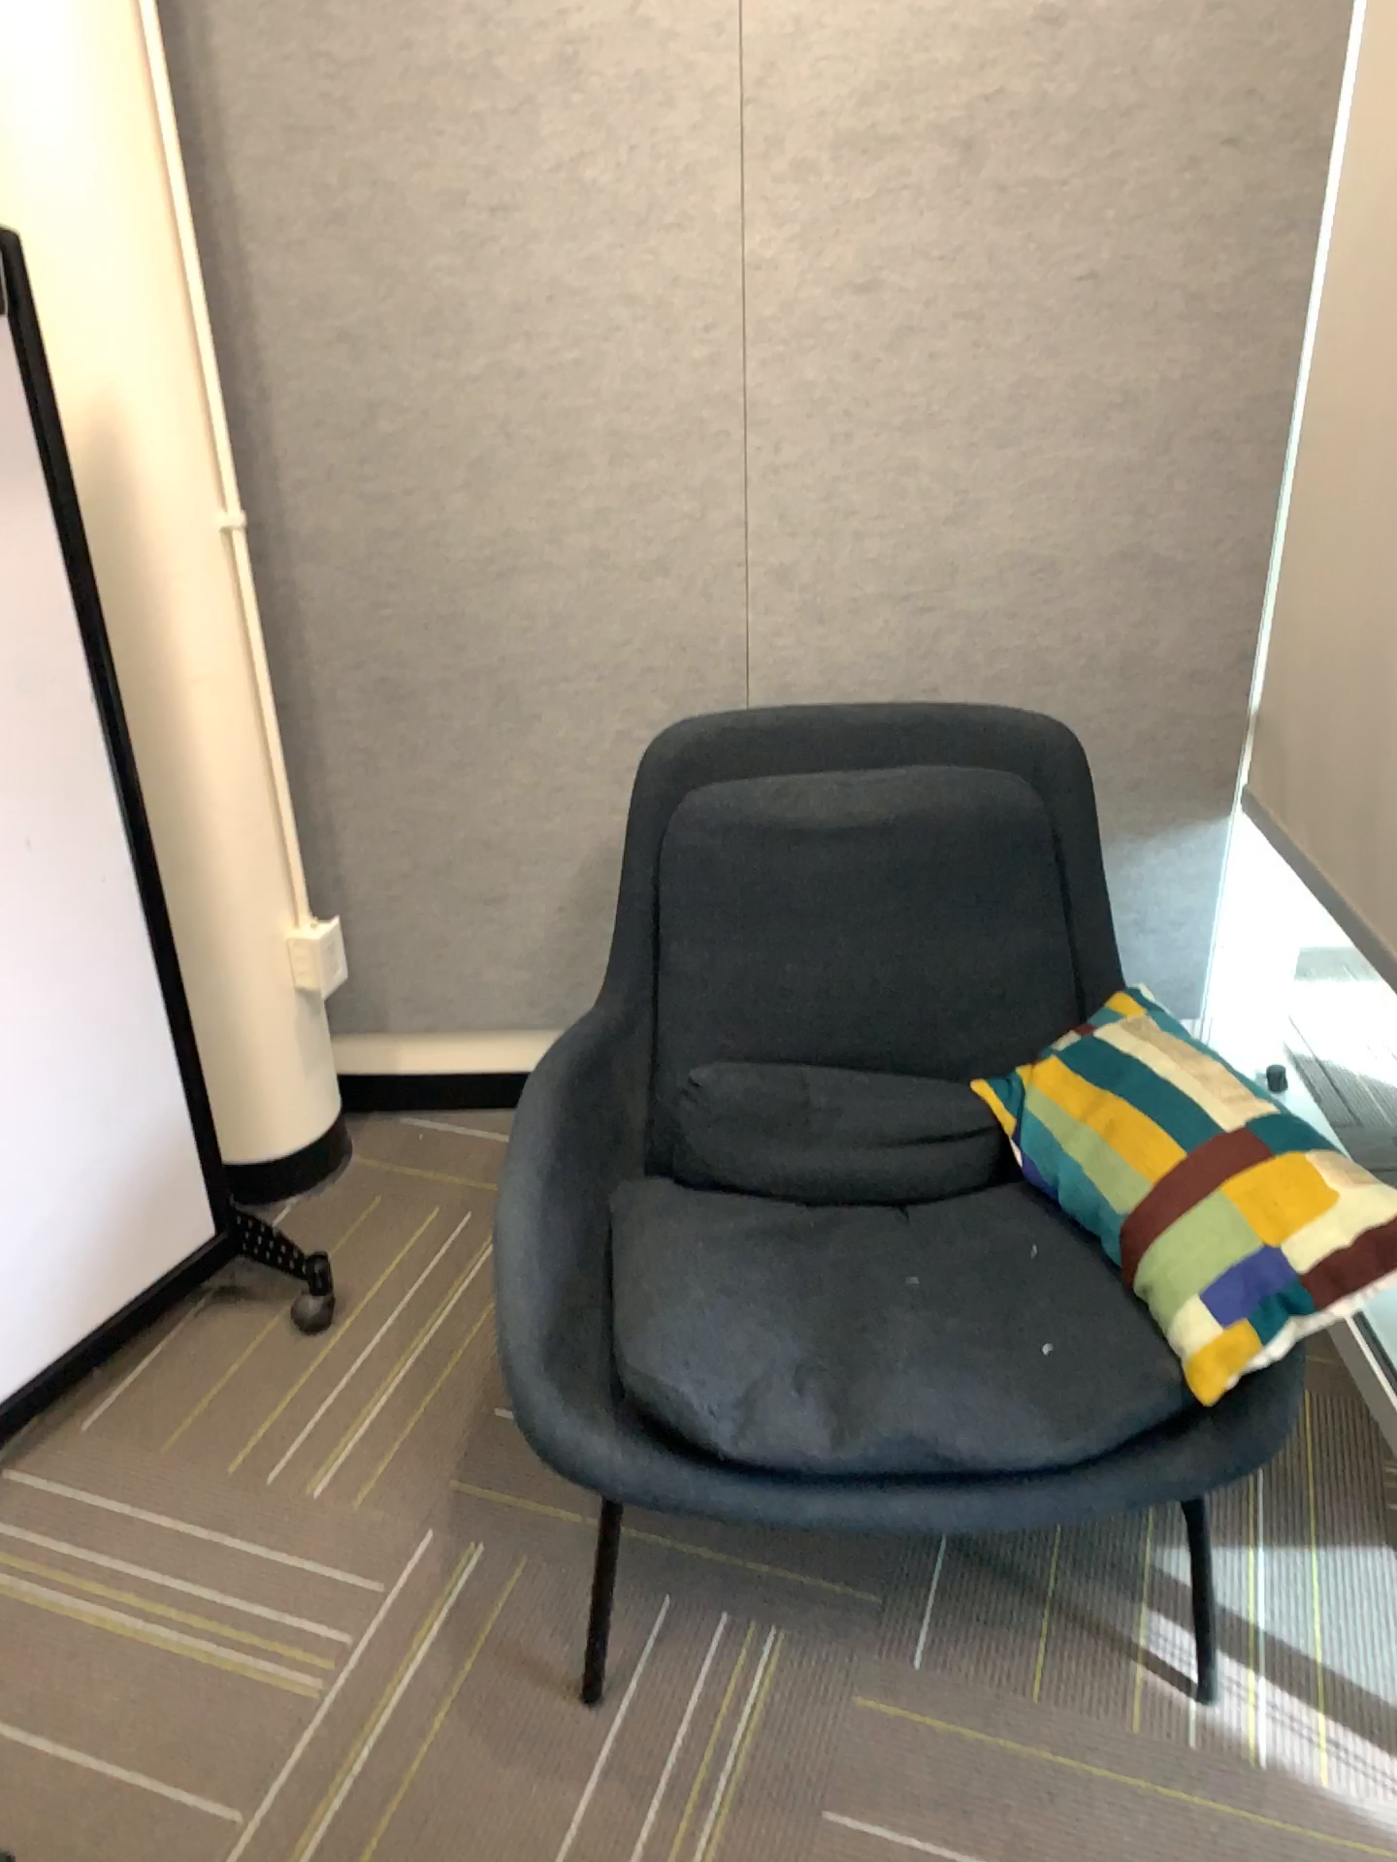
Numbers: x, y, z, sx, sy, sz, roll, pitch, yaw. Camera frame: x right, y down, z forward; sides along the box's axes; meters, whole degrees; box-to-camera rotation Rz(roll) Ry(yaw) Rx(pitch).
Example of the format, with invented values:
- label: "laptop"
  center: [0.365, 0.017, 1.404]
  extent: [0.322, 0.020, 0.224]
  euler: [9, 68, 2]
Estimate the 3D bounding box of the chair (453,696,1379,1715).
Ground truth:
- label: "chair"
  center: [0.243, 0.247, 1.851]
  extent: [0.790, 0.816, 1.005]
  euler: [2, 27, 7]
